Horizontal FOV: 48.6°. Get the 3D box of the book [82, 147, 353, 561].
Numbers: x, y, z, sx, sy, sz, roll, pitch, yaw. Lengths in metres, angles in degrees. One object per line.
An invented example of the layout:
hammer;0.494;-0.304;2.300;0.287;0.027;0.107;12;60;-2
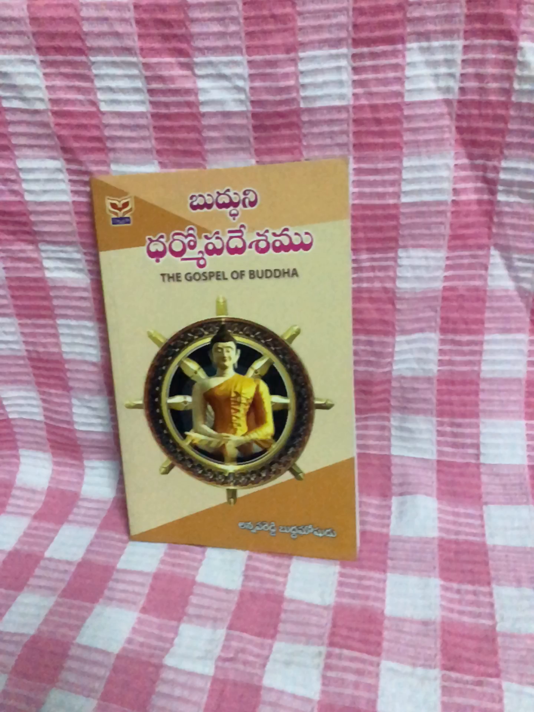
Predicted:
book;-0.026;0.002;0.326;0.140;0.210;0.020;0;9;17
